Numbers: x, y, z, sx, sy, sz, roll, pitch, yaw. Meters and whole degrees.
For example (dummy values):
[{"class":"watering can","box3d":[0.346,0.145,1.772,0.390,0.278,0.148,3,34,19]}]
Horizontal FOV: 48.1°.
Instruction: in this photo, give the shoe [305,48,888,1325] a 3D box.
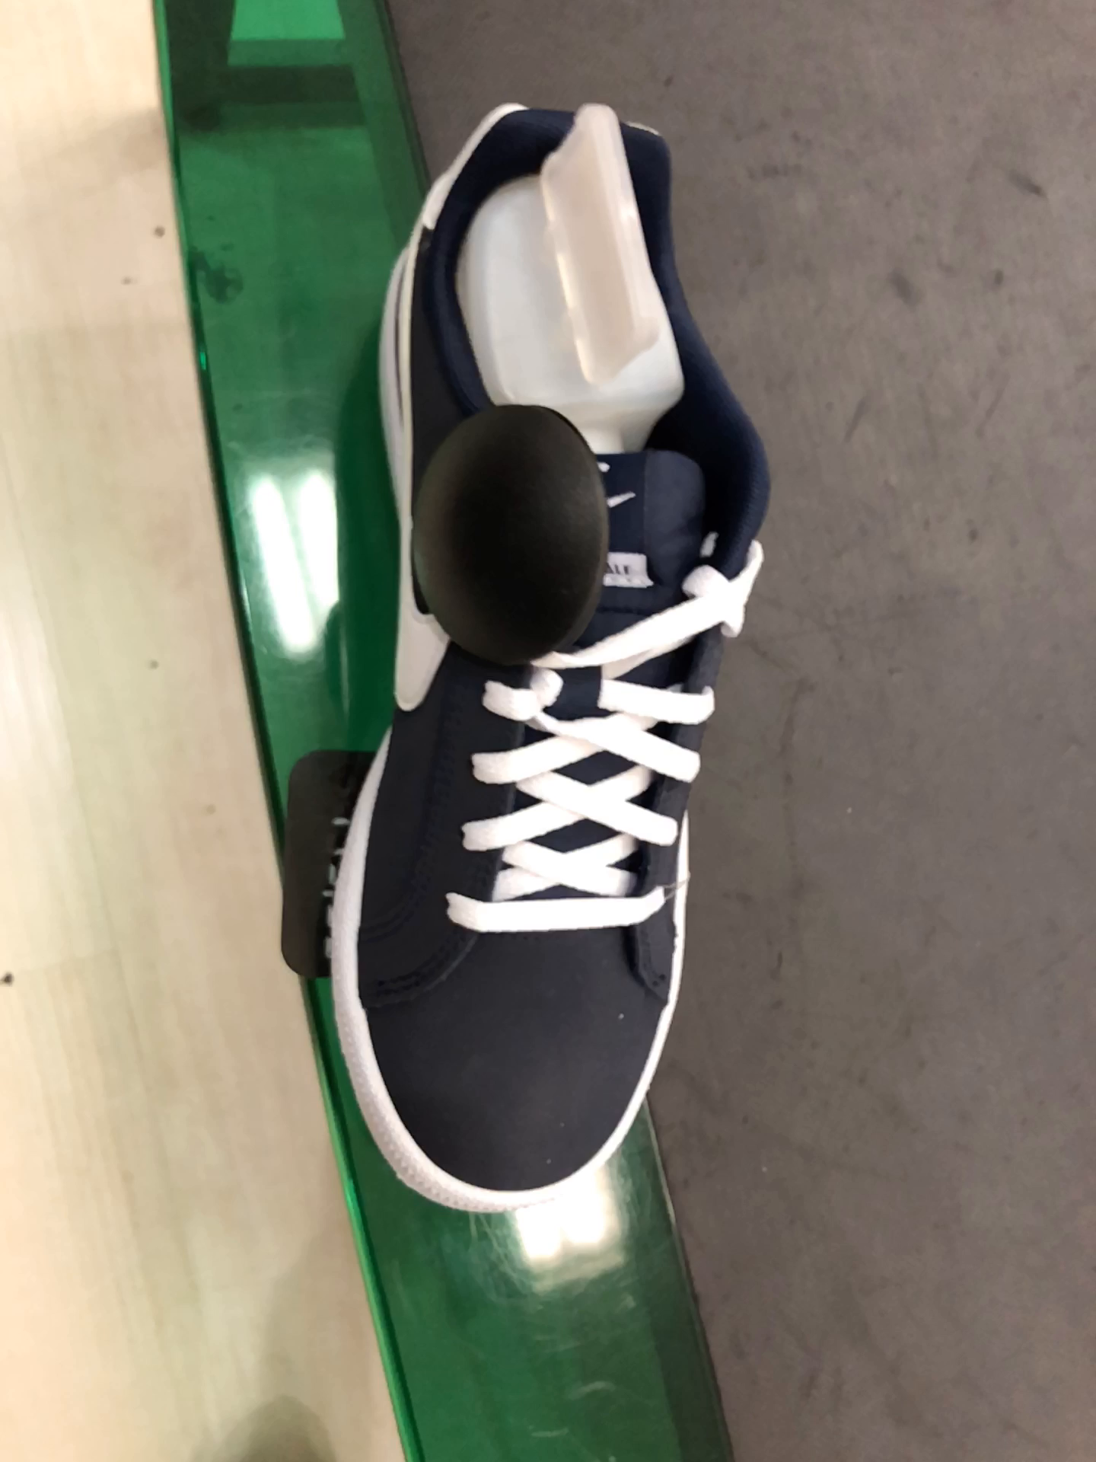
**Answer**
[{"class":"shoe","box3d":[0.003,-0.010,0.297,0.110,0.090,0.250,1,83,-18]}]
